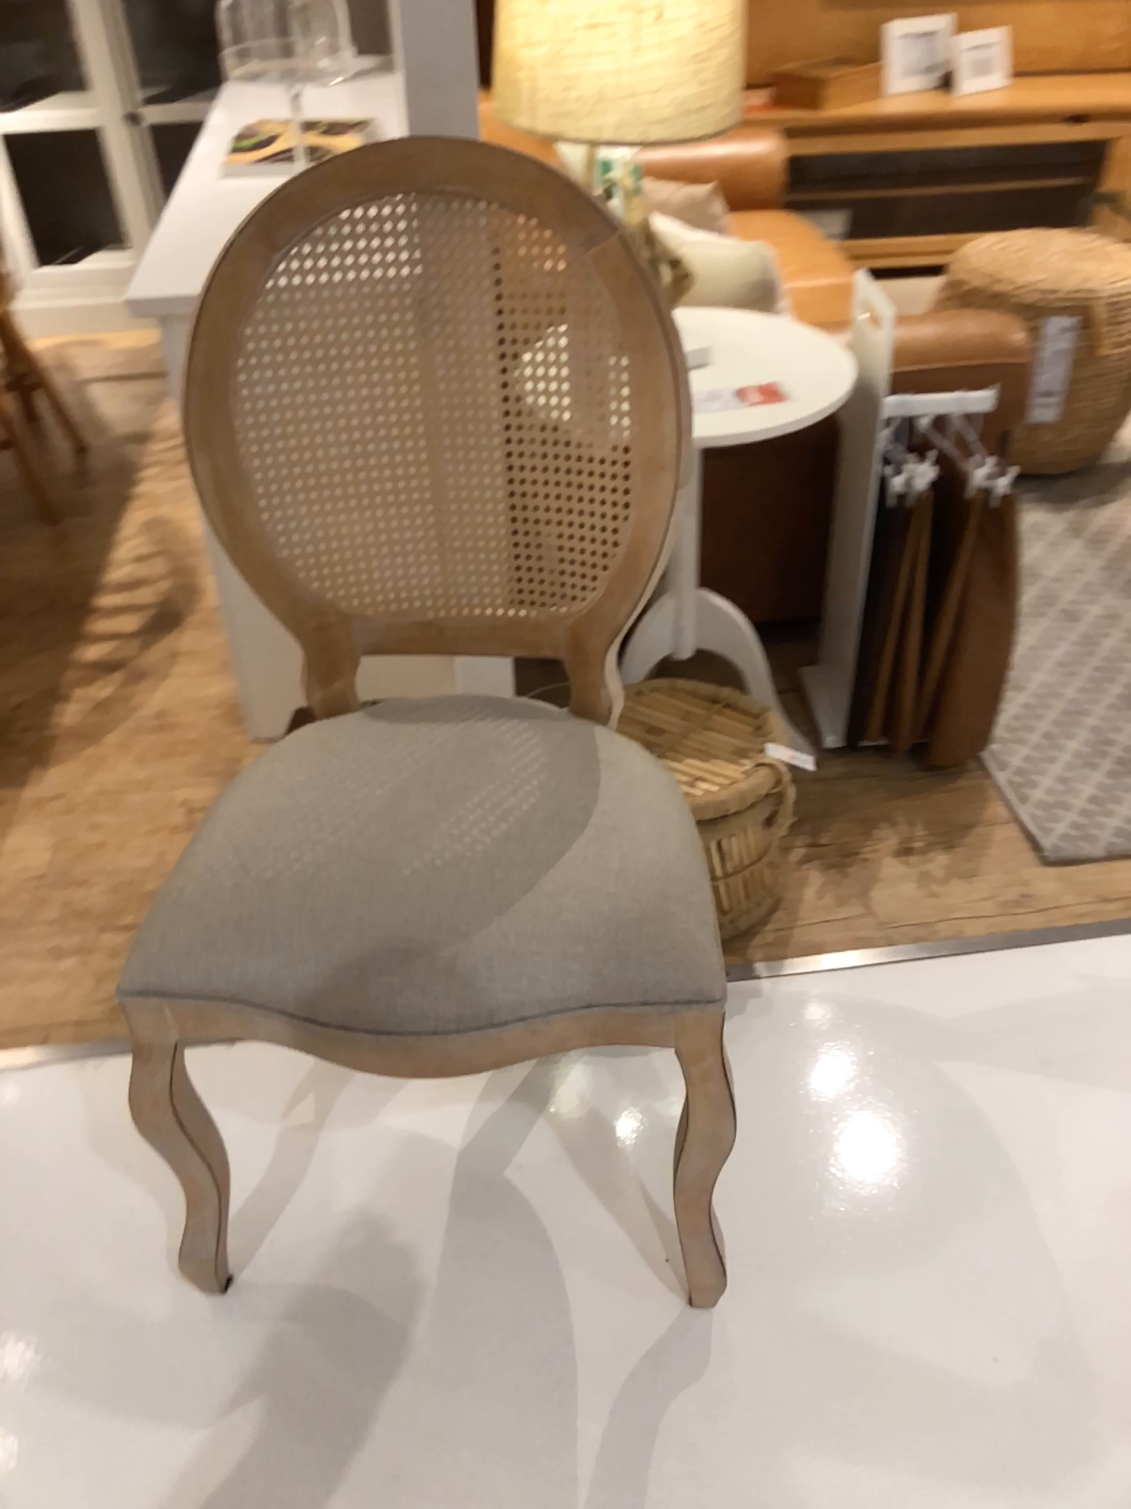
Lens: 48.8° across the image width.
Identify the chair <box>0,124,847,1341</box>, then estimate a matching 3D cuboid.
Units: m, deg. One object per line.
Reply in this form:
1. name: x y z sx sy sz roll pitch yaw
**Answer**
1. chair: -0.129 0.019 1.130 0.590 0.962 0.524 0 37 3
